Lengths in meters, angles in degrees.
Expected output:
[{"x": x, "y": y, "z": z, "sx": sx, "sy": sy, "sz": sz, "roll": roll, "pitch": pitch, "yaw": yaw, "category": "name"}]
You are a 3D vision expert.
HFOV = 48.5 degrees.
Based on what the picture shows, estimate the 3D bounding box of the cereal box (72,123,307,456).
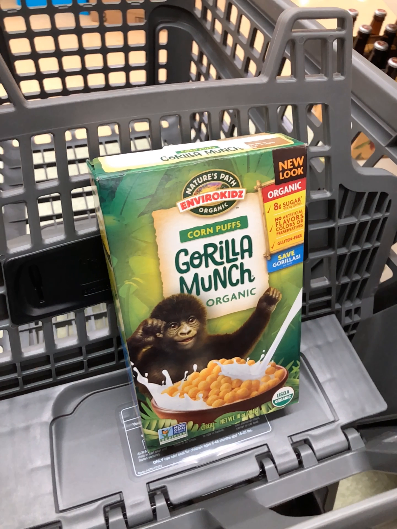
[{"x": 0.001, "y": 0.026, "z": 0.385, "sx": 0.160, "sy": 0.260, "sz": 0.070, "roll": -13, "pitch": 29, "yaw": -15, "category": "cereal box"}]
